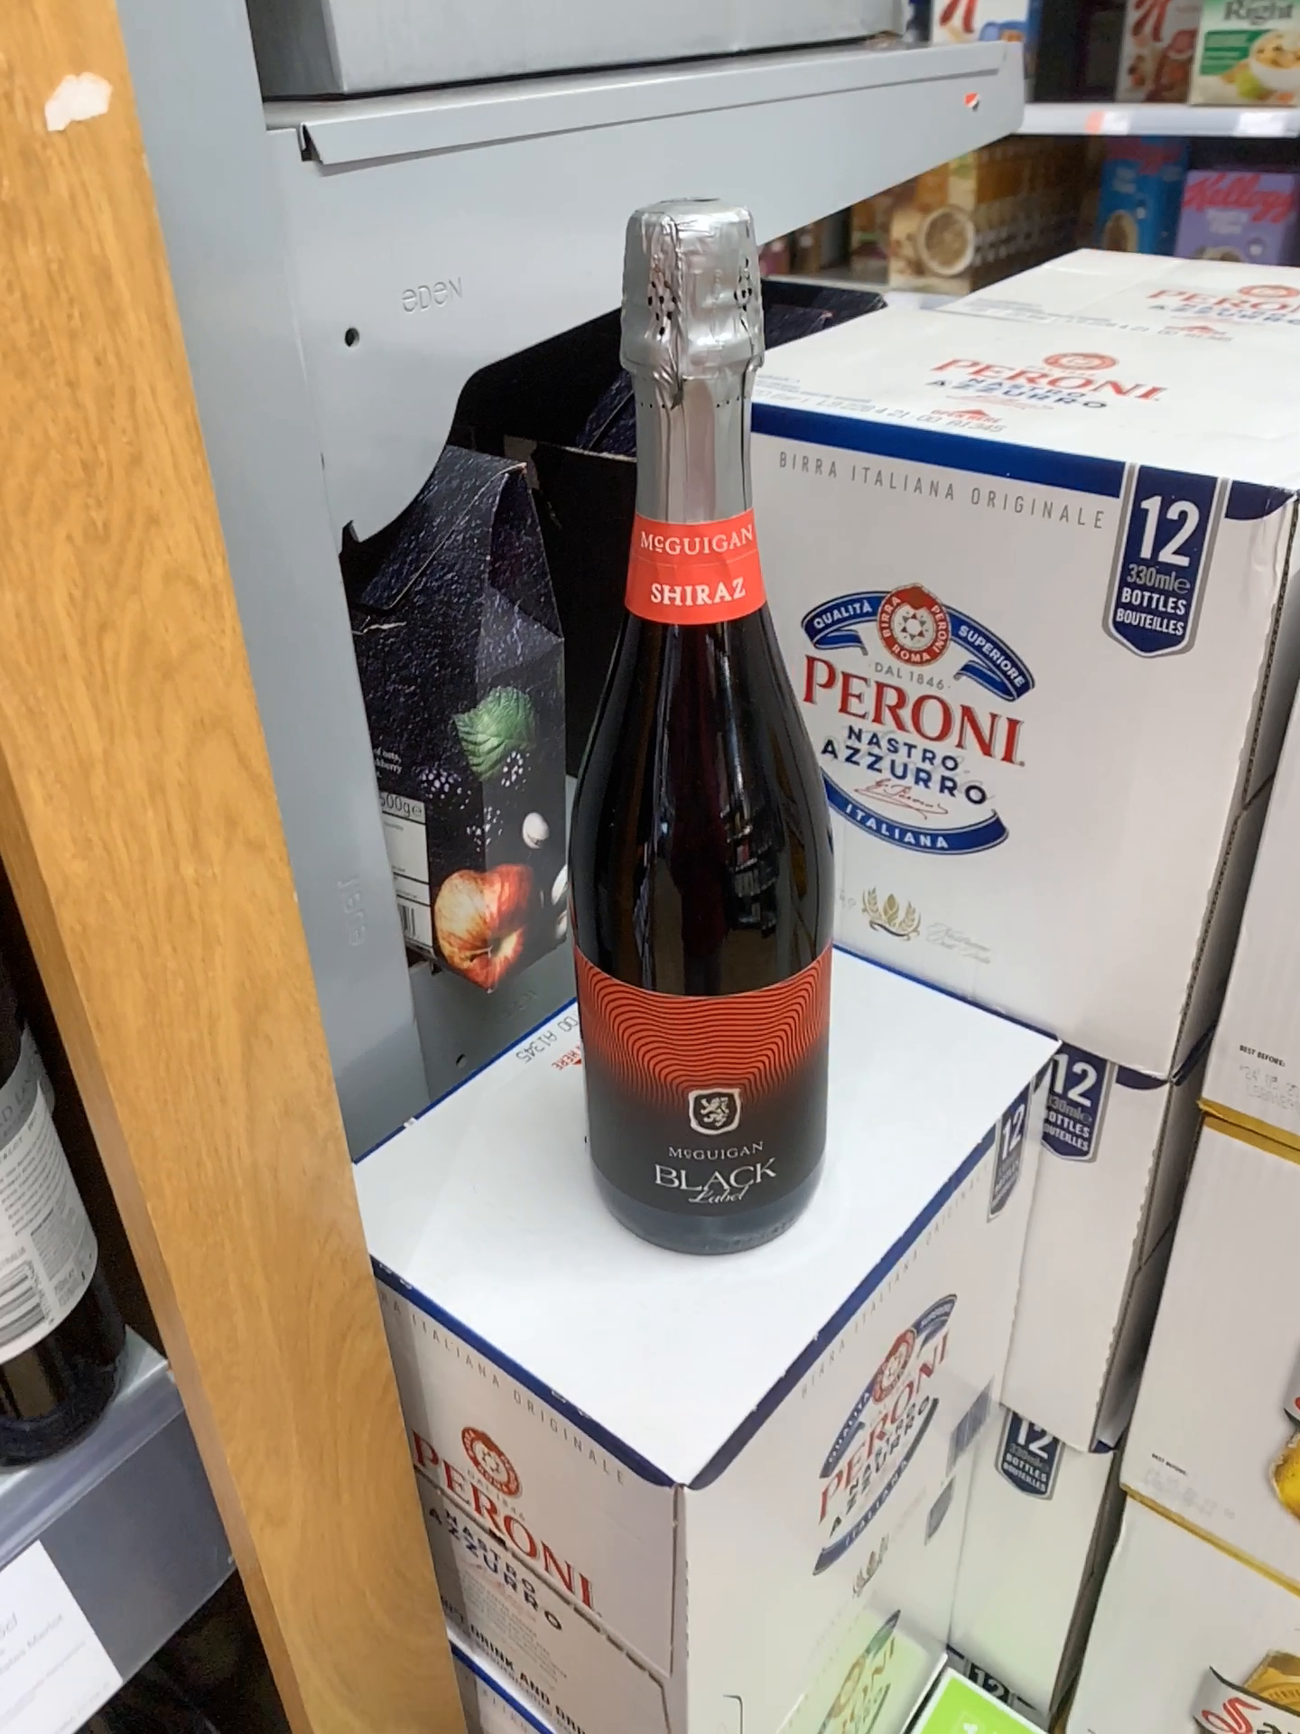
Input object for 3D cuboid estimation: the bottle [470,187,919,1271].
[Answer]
[{"bbox_3d":[0.011,-0.026,0.382,0.090,0.289,0.095,-2,32,1],"label":"bottle"}]
